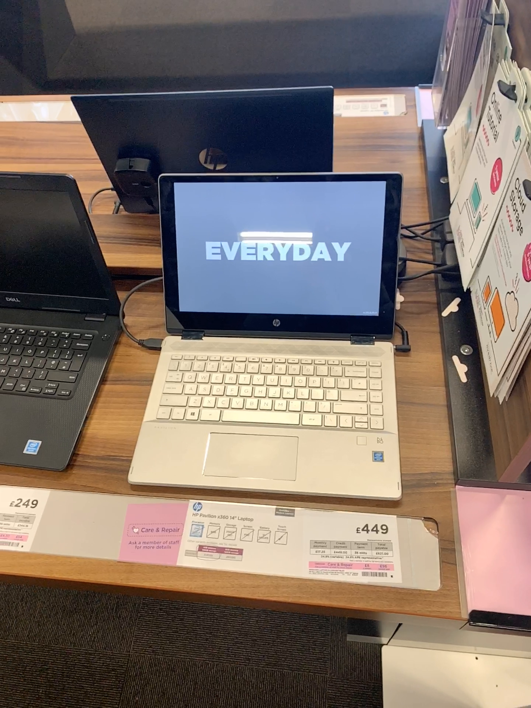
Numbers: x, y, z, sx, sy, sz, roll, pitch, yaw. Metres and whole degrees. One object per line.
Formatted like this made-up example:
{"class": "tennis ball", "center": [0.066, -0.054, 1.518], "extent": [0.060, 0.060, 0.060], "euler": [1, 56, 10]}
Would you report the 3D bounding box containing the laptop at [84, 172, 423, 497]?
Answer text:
{"class": "laptop", "center": [0.006, -0.041, 0.661], "extent": [0.313, 0.154, 0.363], "euler": [2, 55, 7]}
